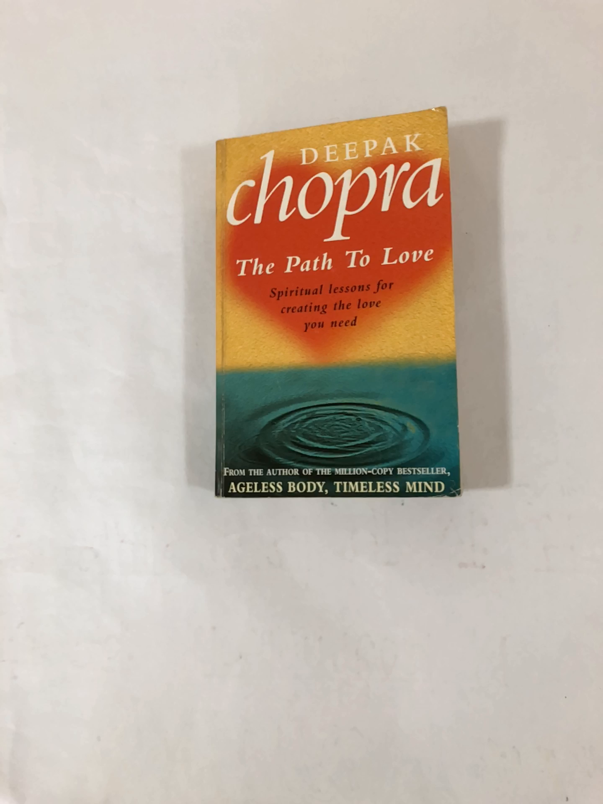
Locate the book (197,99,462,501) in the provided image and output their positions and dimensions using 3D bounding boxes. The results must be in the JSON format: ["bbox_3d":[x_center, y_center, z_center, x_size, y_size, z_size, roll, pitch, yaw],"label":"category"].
[{"bbox_3d":[0.014,-0.049,0.359,0.130,0.040,0.200,-2,82,12],"label":"book"}]
